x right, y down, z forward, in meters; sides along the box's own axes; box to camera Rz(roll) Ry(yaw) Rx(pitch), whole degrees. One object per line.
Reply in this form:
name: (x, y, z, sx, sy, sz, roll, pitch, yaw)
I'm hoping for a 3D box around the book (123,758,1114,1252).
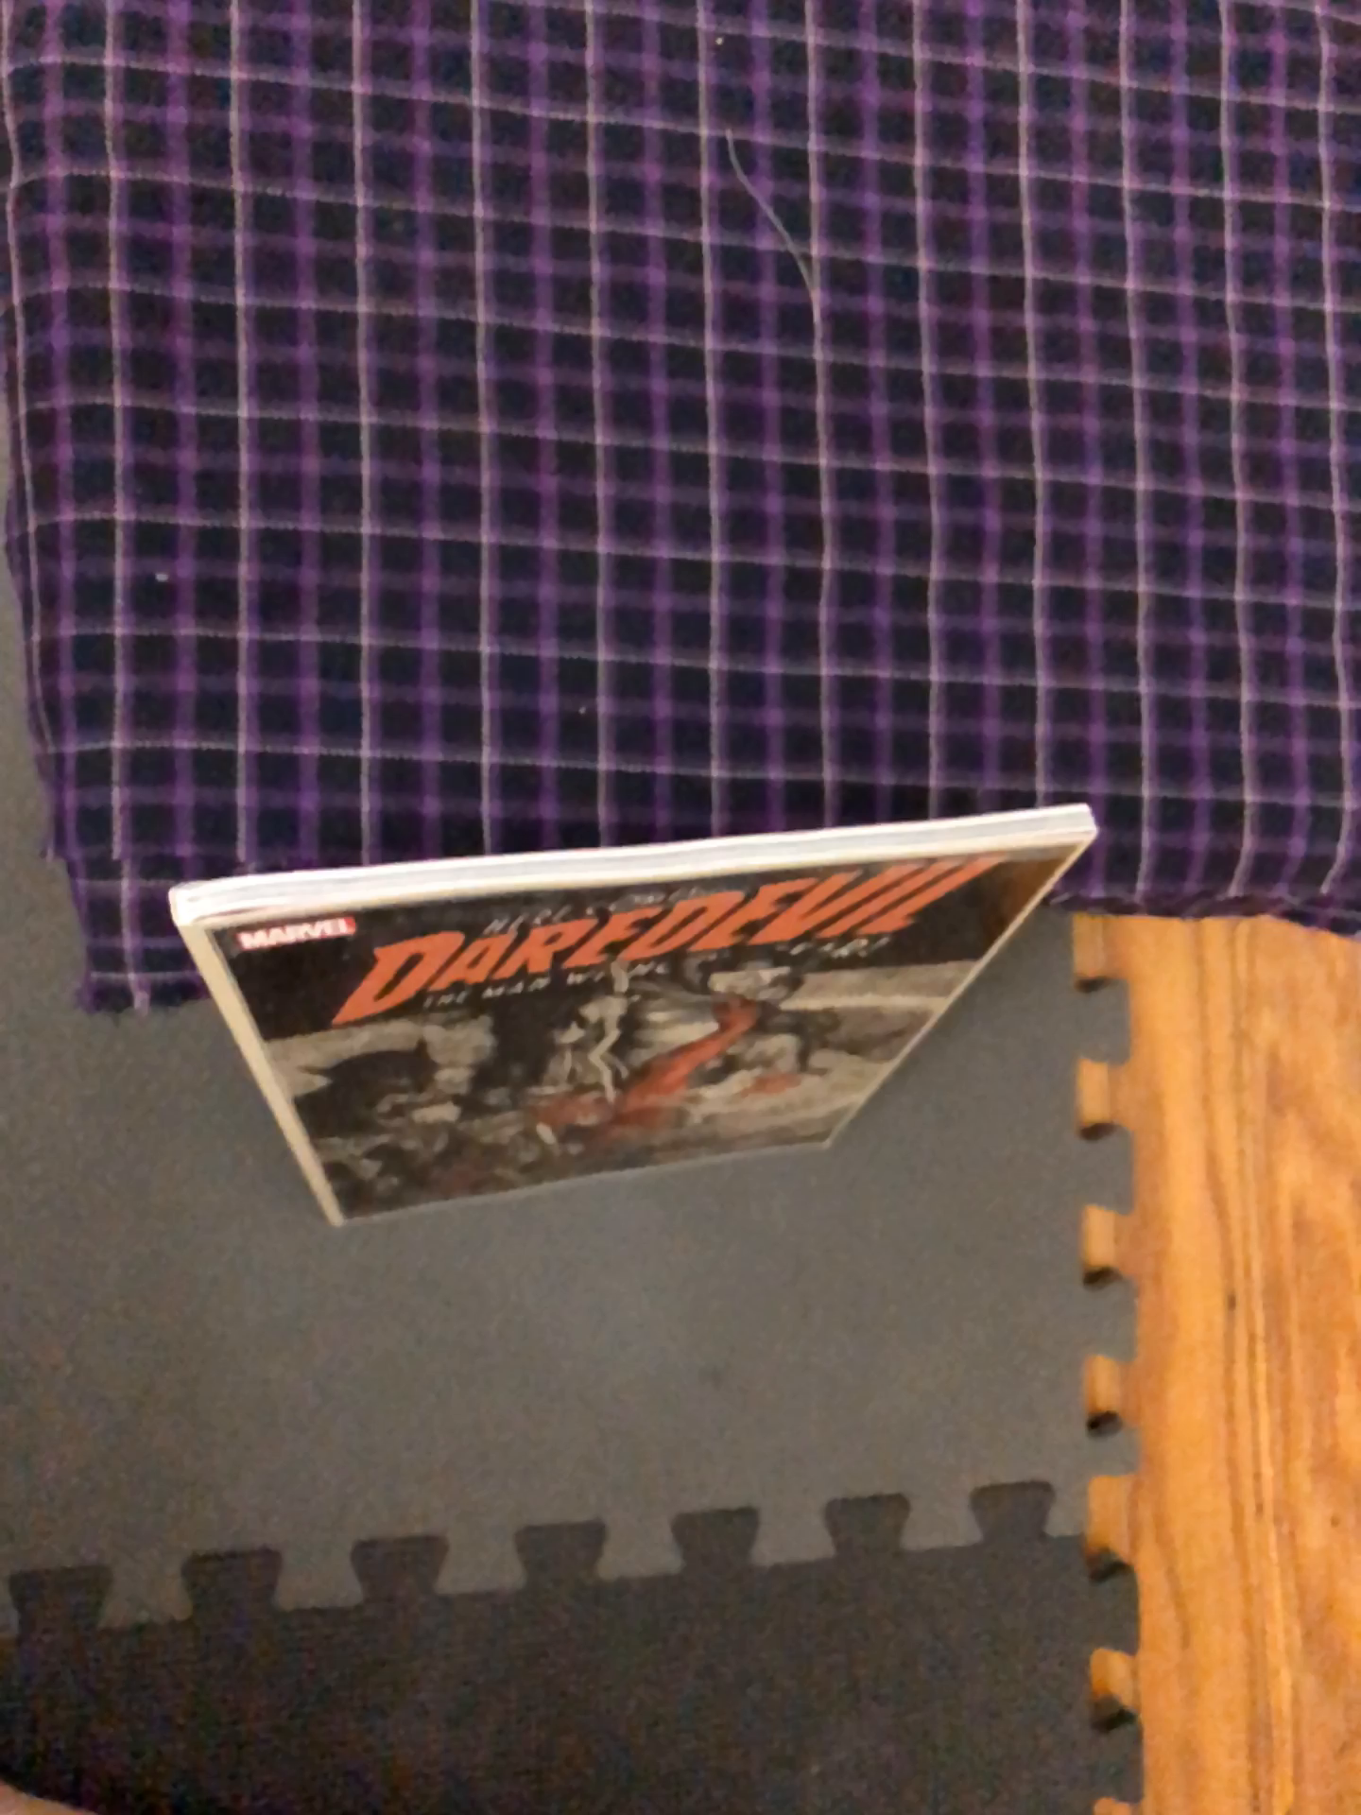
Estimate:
book: (-0.019, 0.037, 0.352, 0.160, 0.230, 0.020, -8, 69, -10)
